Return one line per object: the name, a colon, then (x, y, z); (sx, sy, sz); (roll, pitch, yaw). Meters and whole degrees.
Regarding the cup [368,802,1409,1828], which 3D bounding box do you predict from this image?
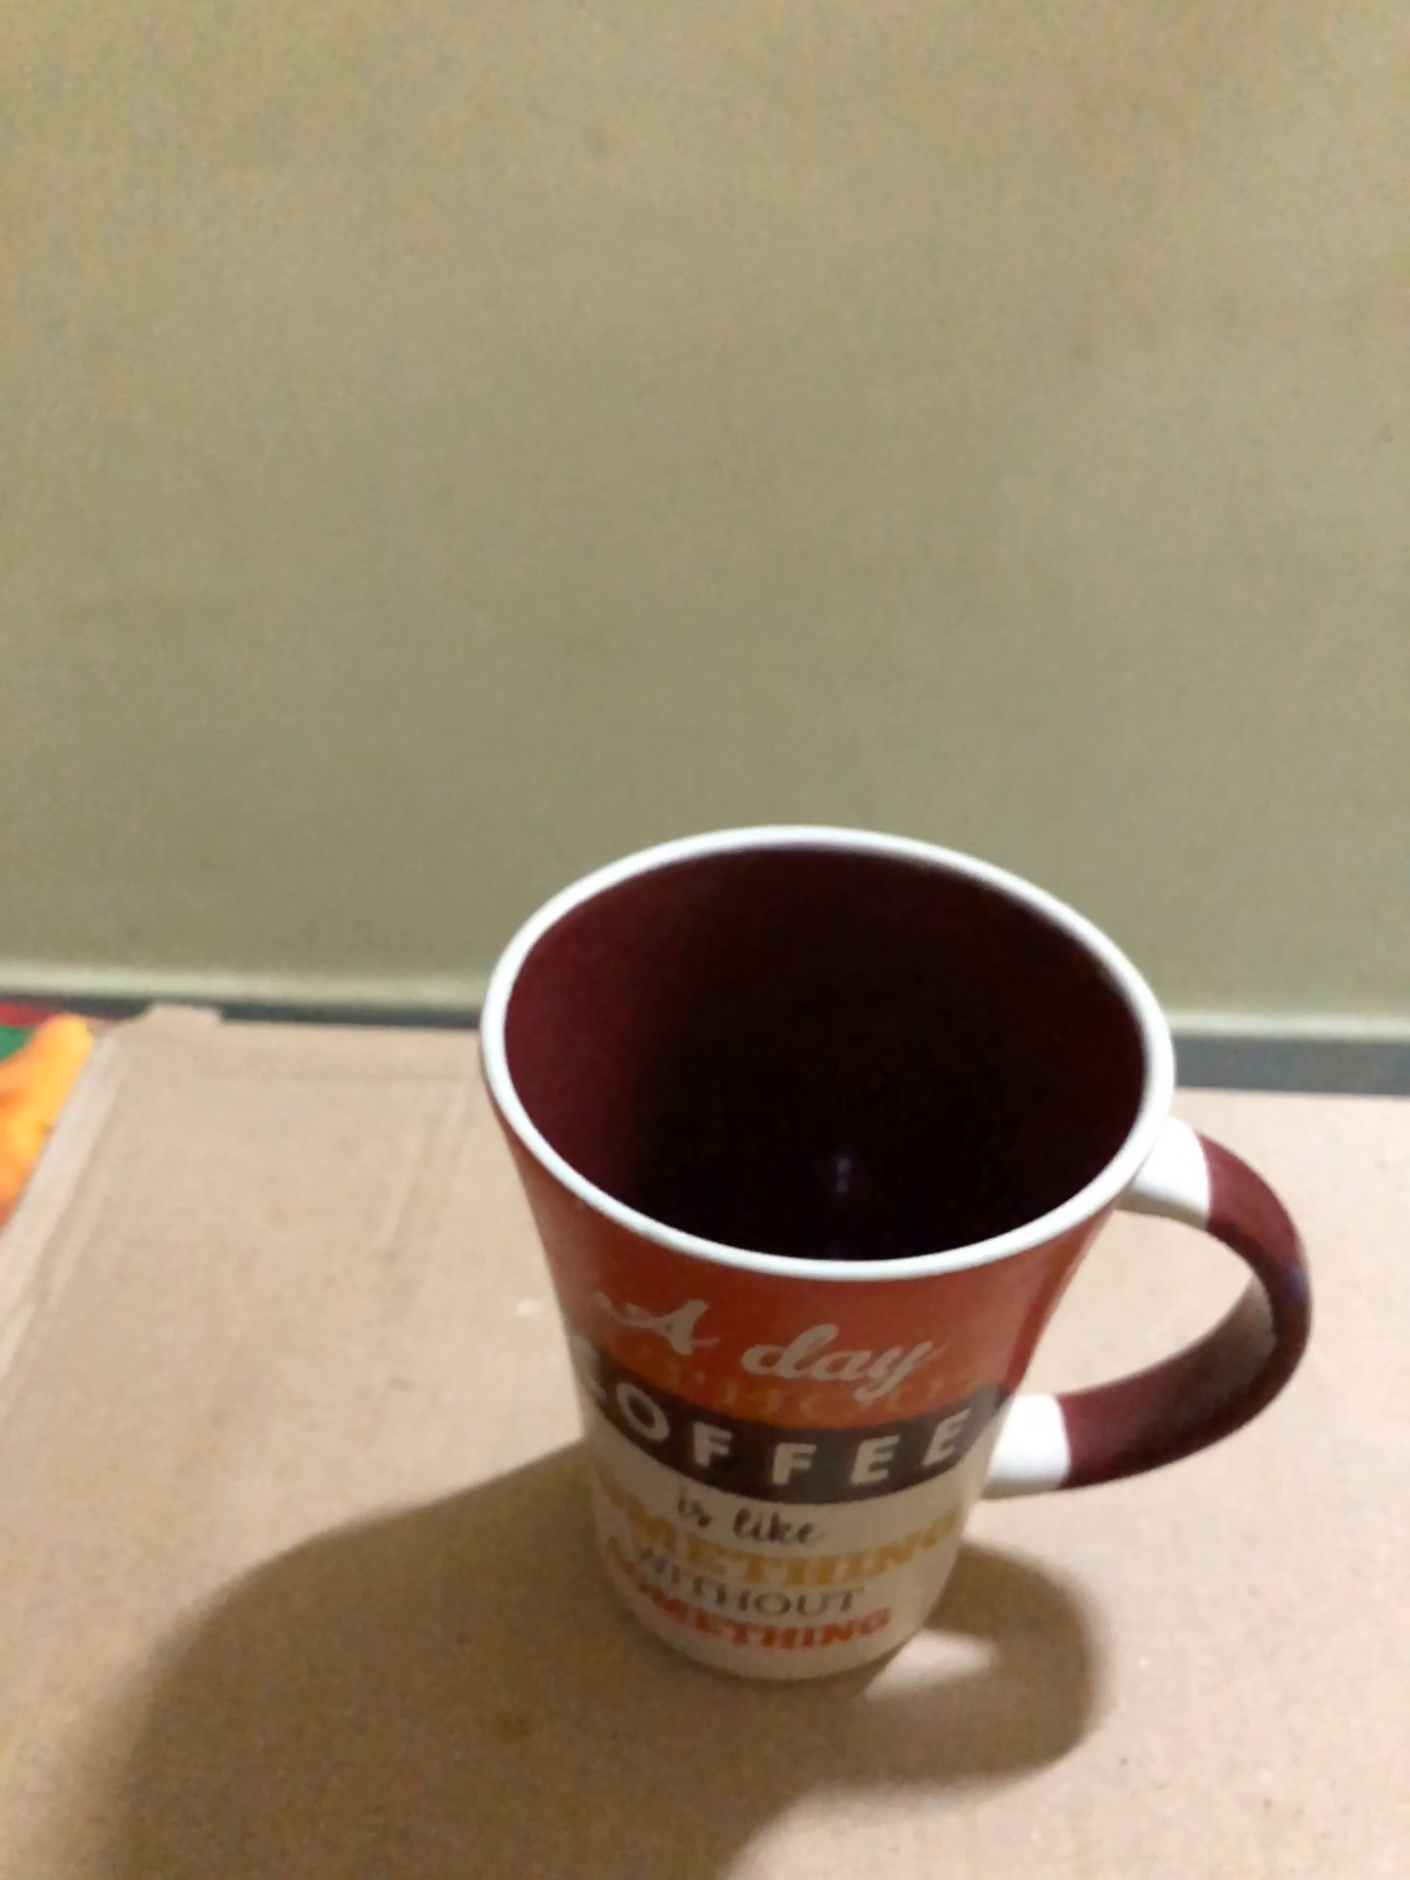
cup: (0.032, 0.053, 0.252); (0.130, 0.109, 0.101); (3, 33, 6)
